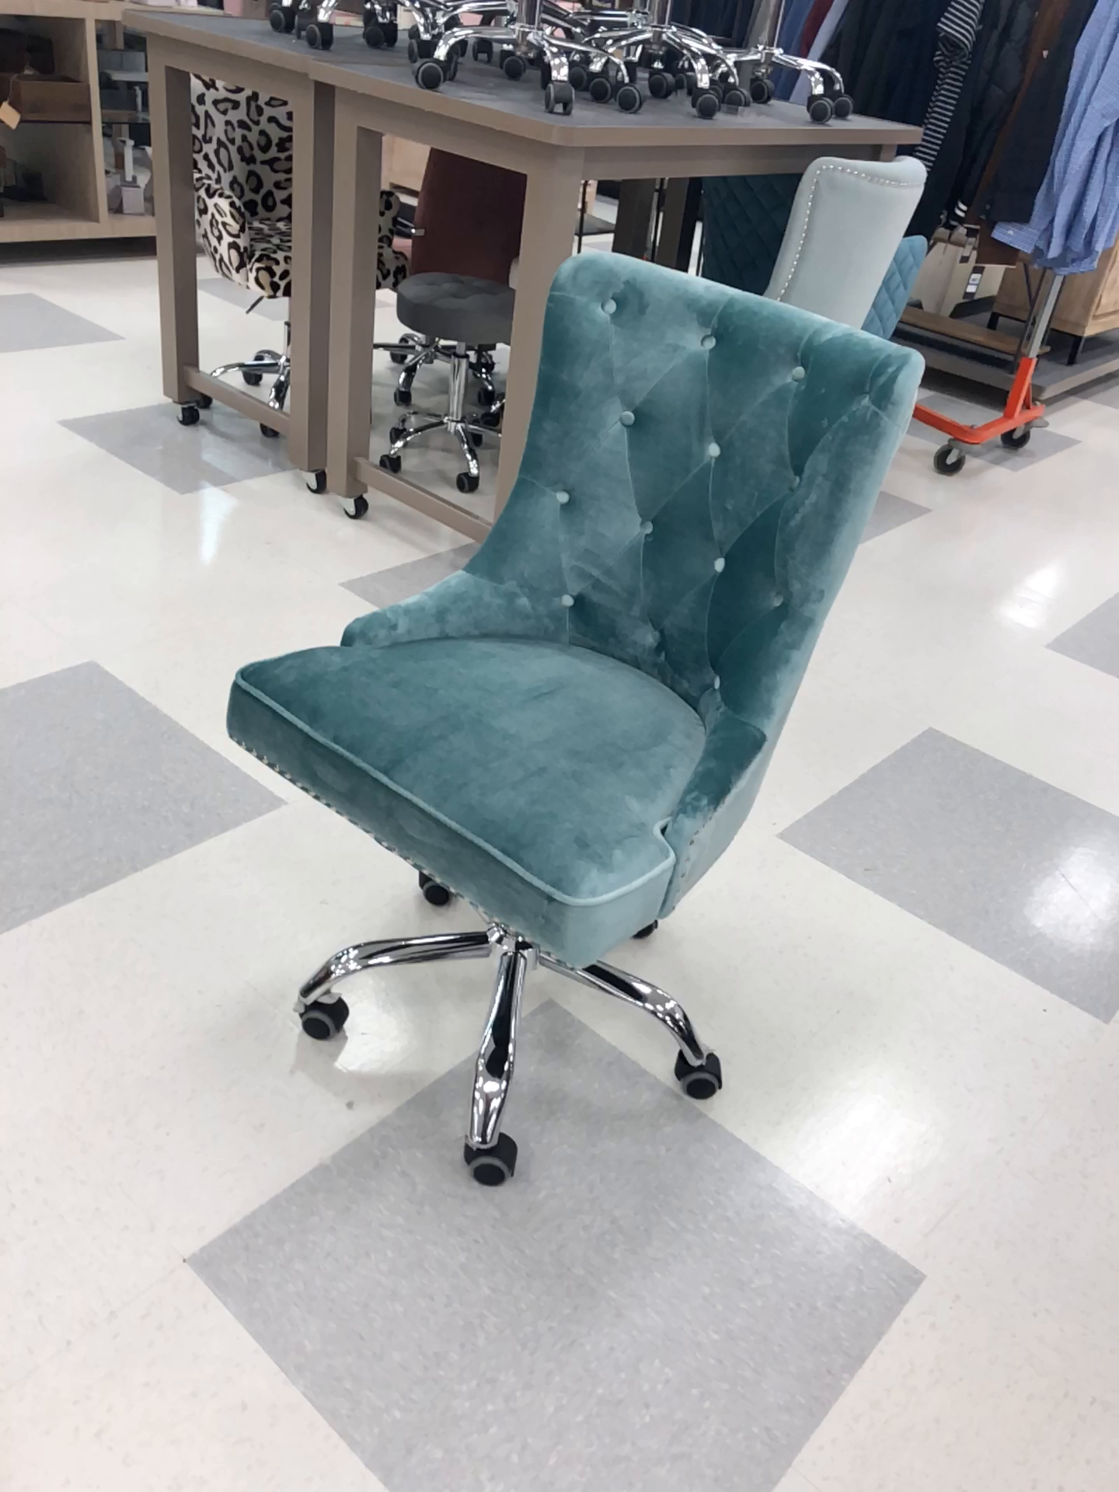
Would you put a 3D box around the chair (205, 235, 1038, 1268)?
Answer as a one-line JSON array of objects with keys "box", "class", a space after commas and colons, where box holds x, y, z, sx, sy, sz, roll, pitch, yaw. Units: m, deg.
[{"box": [0.019, -0.042, 1.478, 0.599, 0.934, 0.607, 32, 39, 33], "class": "chair"}]
